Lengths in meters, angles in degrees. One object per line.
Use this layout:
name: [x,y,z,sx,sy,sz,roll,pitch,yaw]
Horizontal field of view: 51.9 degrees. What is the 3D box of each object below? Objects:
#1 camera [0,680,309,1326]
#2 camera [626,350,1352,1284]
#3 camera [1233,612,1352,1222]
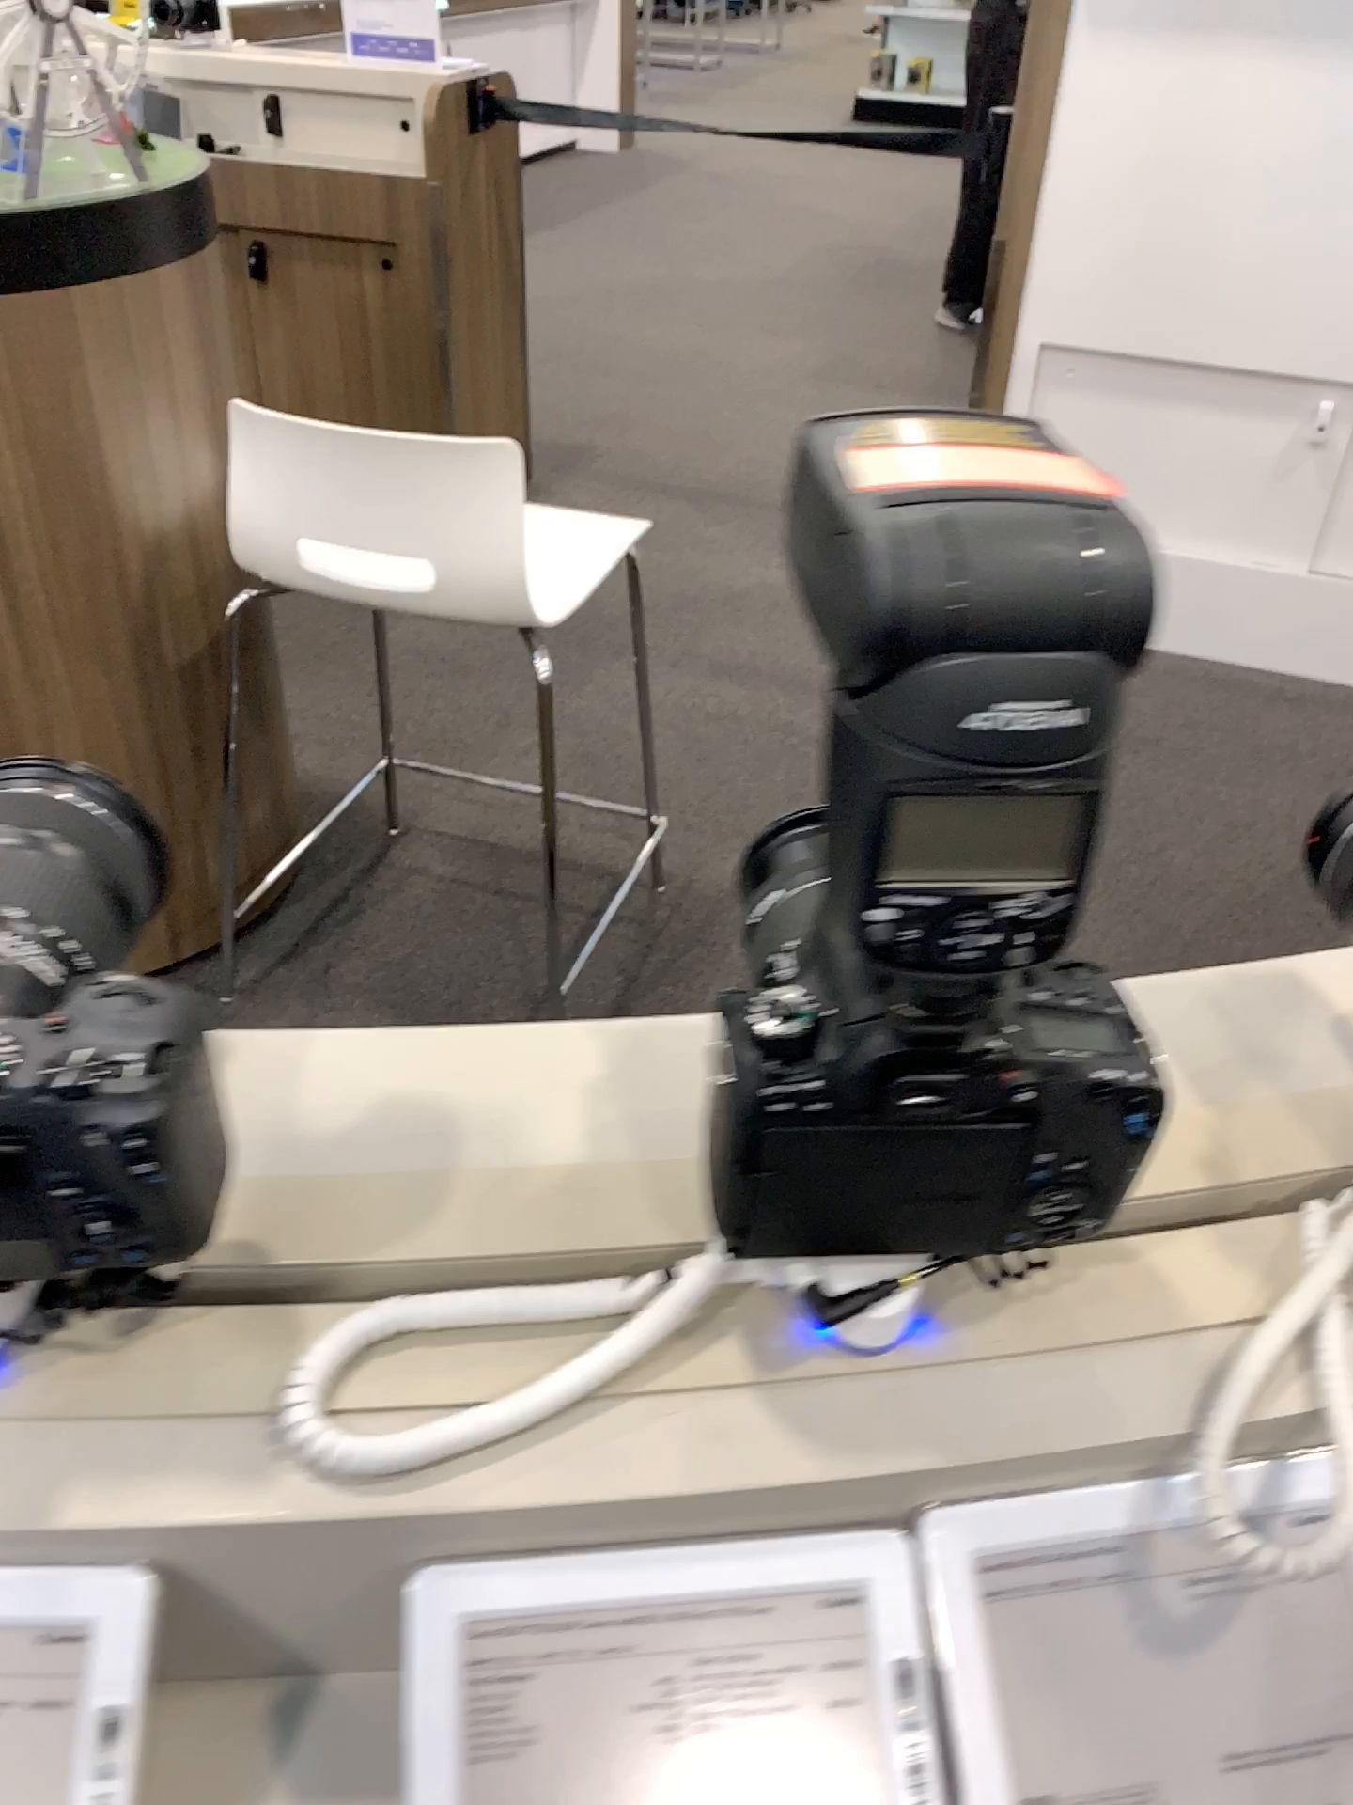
camera: [-0.210,0.020,0.453,0.140,0.099,0.201,-1,37,-5]
camera: [0.066,-0.028,0.421,0.150,0.219,0.171,-1,37,-5]
camera: [0.313,-0.008,0.469,0.140,0.099,0.191,-5,37,-10]
